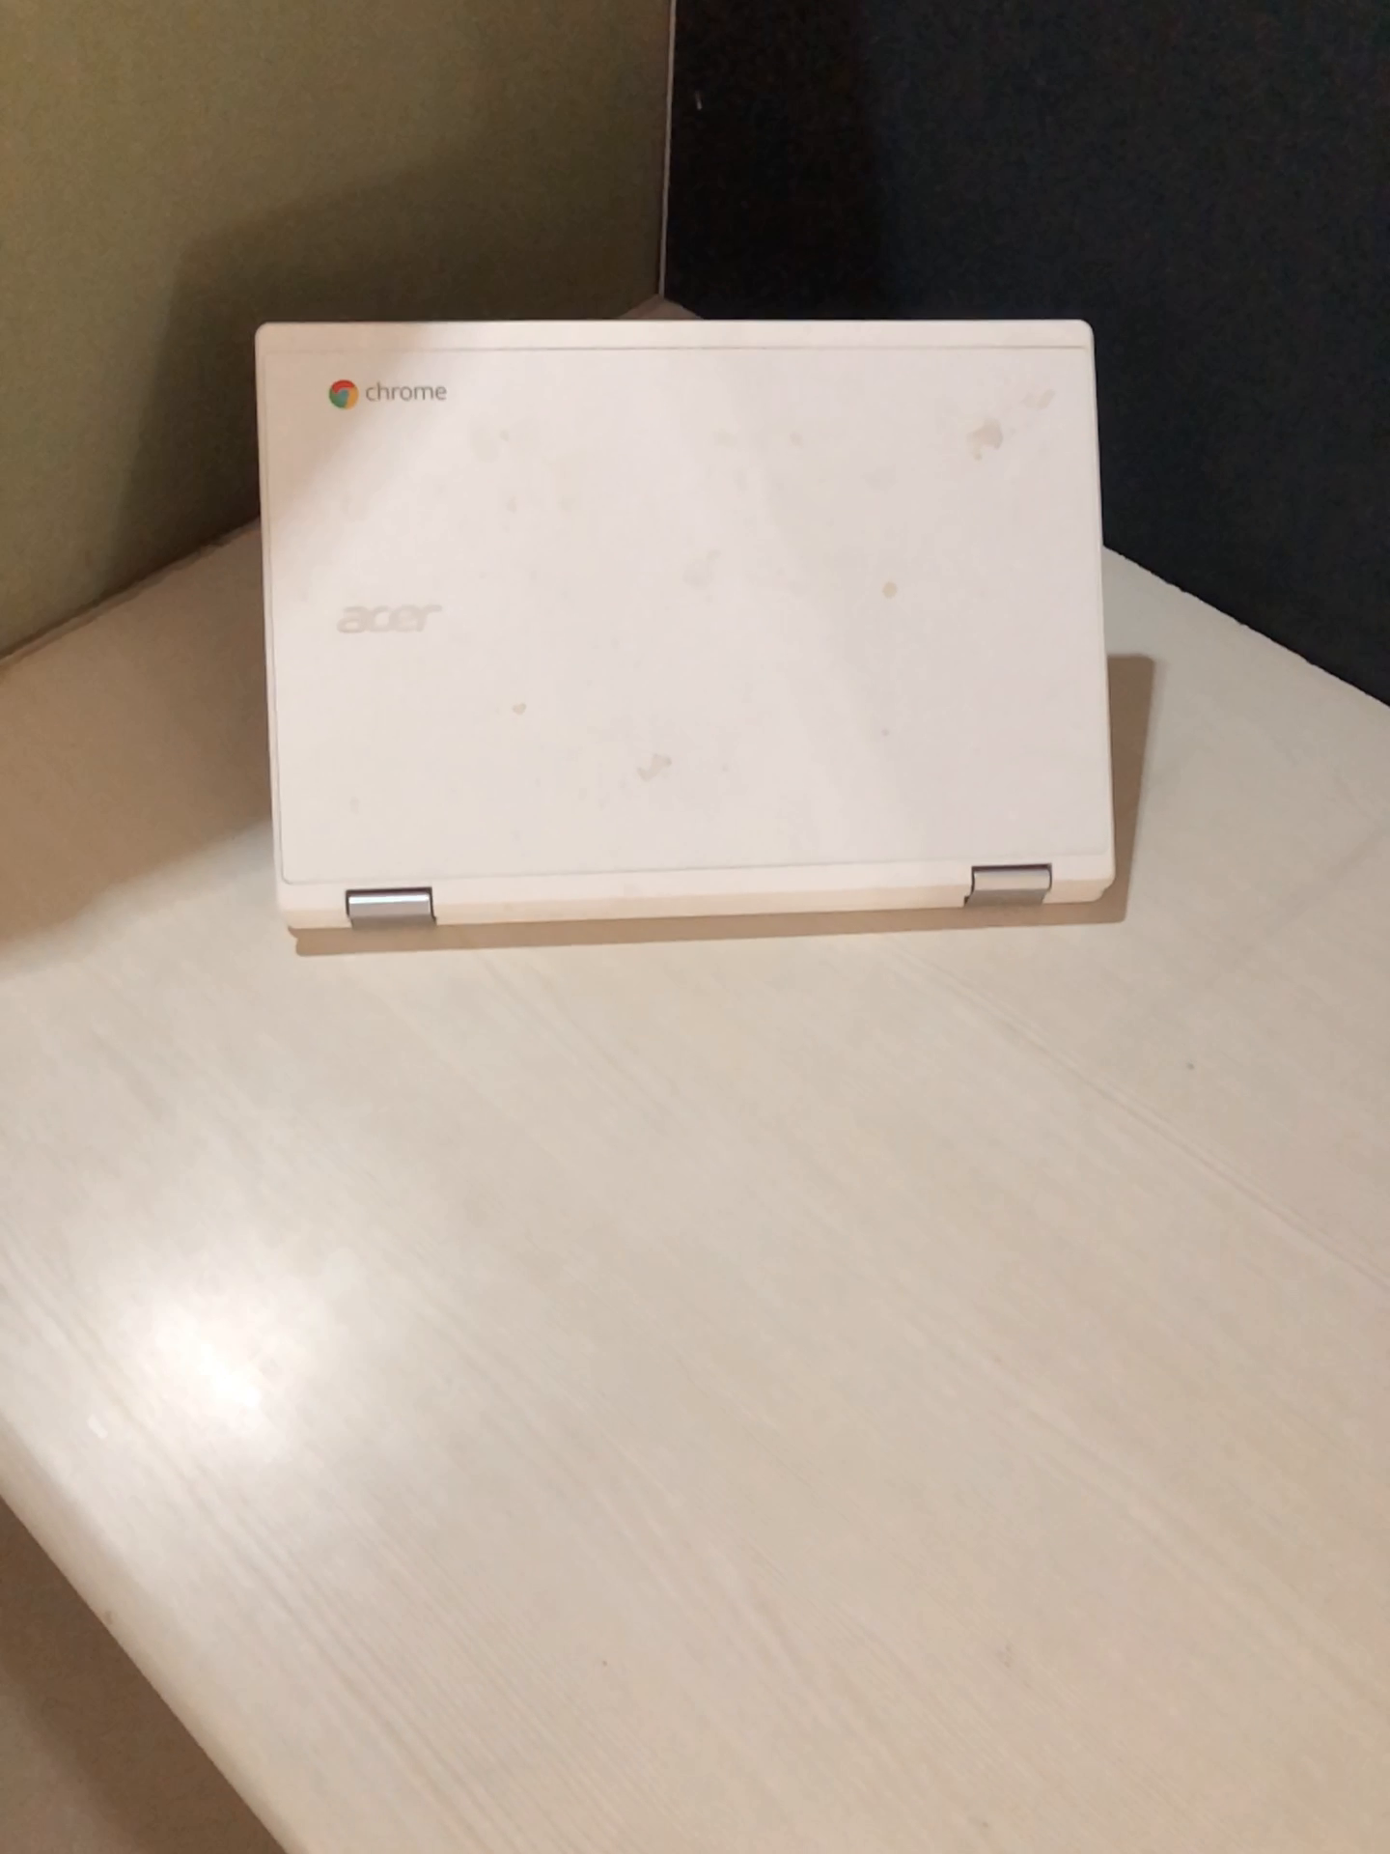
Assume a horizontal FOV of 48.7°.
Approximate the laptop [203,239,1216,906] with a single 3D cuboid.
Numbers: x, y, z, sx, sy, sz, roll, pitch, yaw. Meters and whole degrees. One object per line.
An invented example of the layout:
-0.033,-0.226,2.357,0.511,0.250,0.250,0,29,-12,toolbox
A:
-0.003,-0.126,0.527,0.285,0.114,0.188,-2,55,-5,laptop
